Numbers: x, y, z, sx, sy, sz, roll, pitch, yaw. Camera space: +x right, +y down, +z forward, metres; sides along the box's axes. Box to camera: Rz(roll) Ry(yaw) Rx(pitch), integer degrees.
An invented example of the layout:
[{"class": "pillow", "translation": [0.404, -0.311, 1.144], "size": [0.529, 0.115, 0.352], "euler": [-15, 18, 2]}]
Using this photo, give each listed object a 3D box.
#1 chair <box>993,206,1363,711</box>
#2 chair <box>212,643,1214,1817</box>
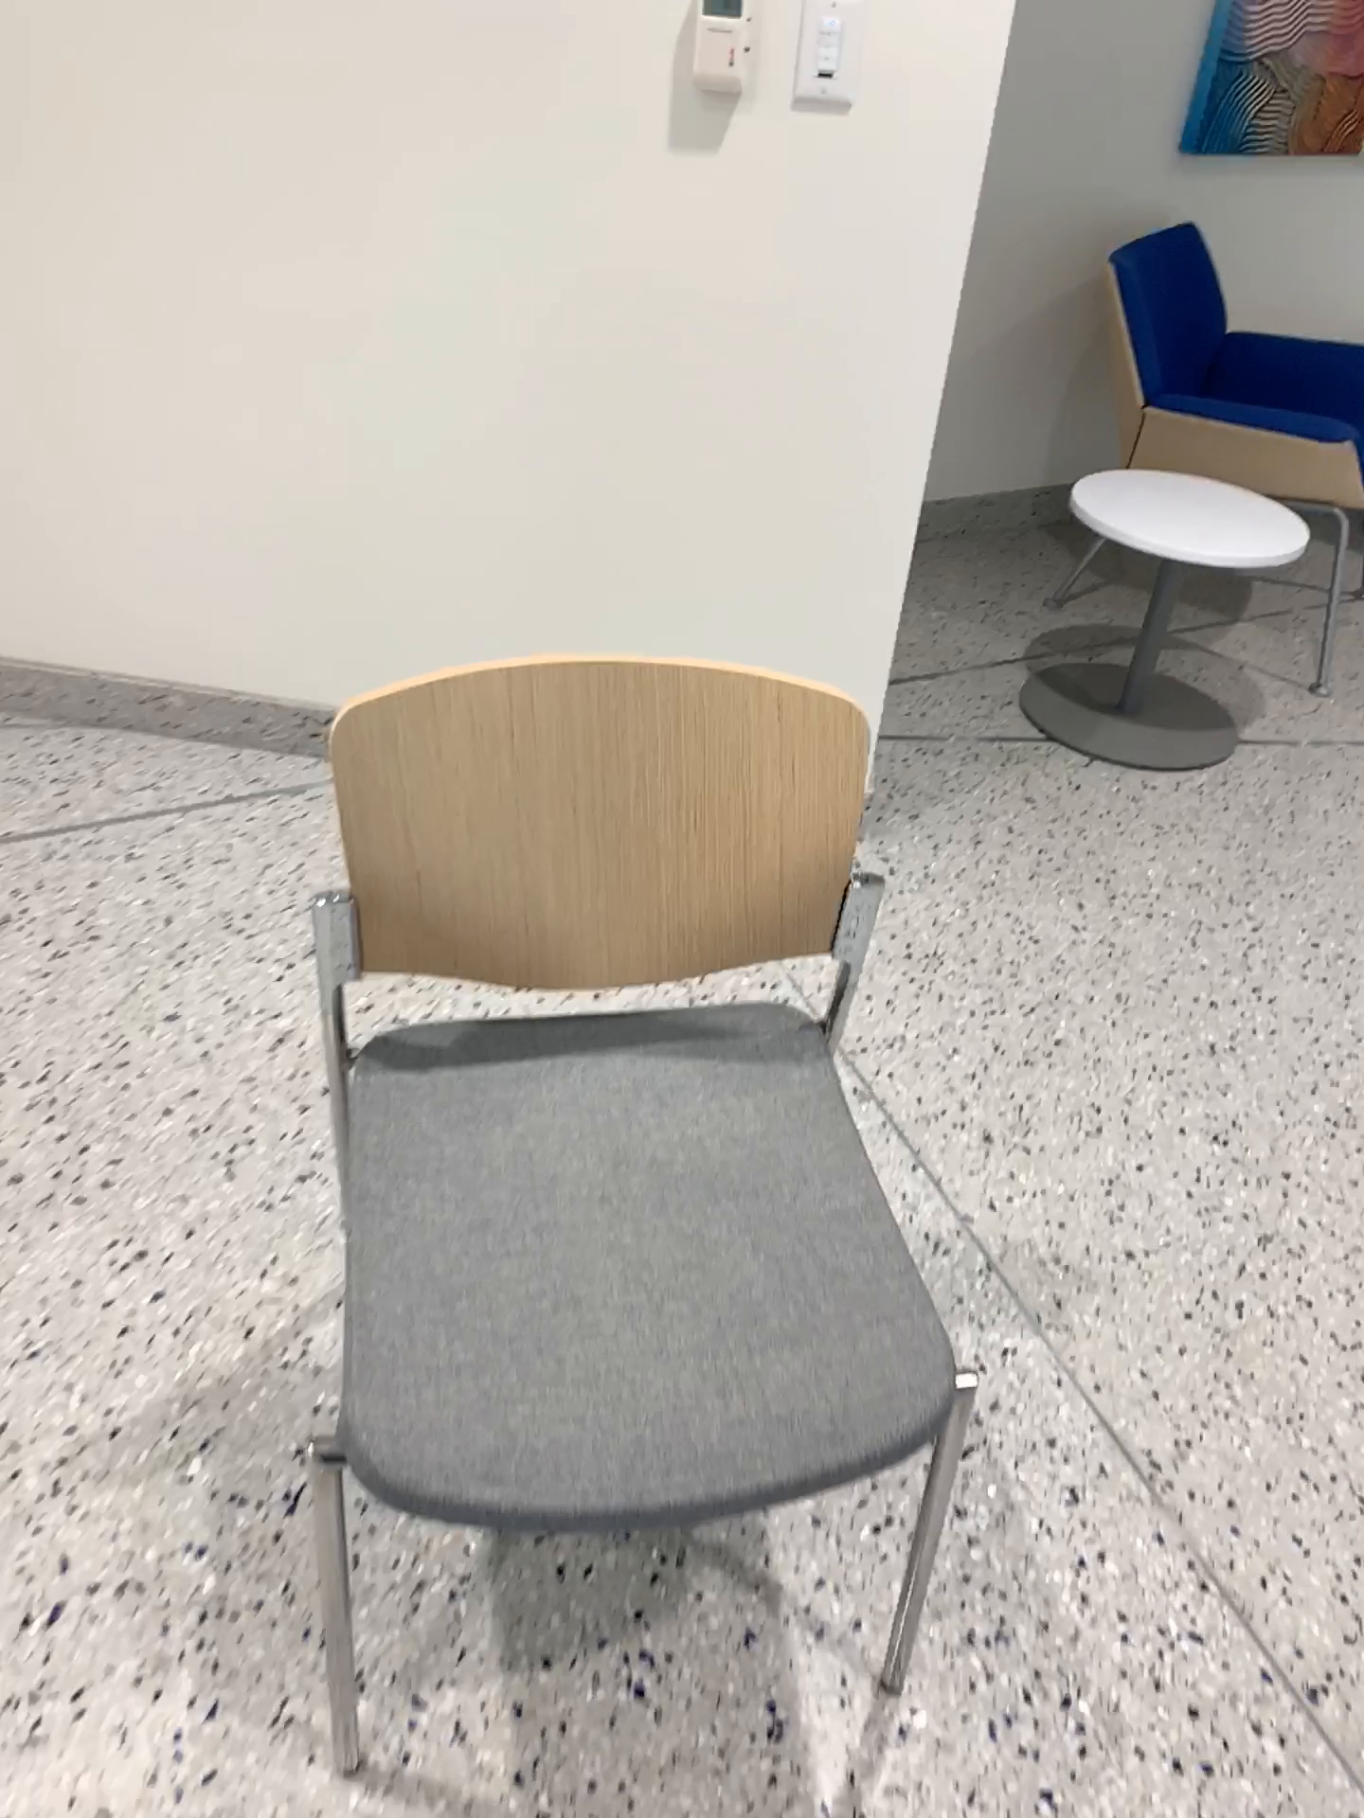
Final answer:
[{"class": "chair", "translation": [1.261, -1.038, 3.087], "size": [0.763, 0.758, 0.773], "euler": [22, 39, 22]}, {"class": "chair", "translation": [-0.044, 0.258, 1.189], "size": [0.537, 0.768, 0.596], "euler": [-2, 36, -10]}]
